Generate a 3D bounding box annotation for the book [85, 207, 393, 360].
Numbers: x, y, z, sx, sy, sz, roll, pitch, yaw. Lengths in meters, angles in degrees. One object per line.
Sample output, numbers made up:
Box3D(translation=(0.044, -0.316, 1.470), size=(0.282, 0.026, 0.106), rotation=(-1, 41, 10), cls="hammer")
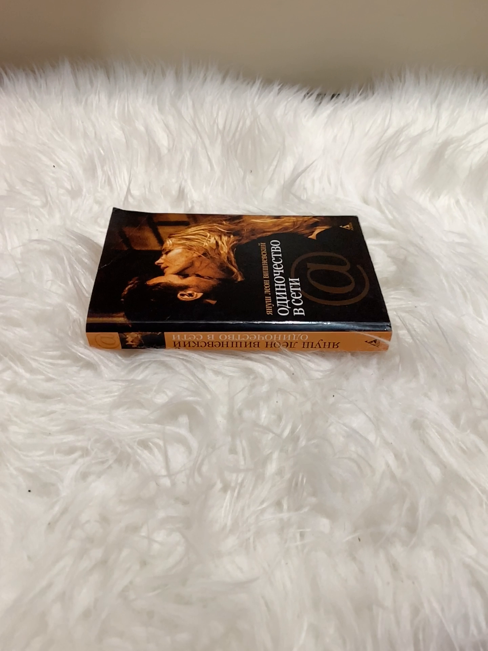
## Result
Box3D(translation=(-0.004, -0.031, 0.336), size=(0.176, 0.030, 0.114), rotation=(1, 47, -5), cls="book")
